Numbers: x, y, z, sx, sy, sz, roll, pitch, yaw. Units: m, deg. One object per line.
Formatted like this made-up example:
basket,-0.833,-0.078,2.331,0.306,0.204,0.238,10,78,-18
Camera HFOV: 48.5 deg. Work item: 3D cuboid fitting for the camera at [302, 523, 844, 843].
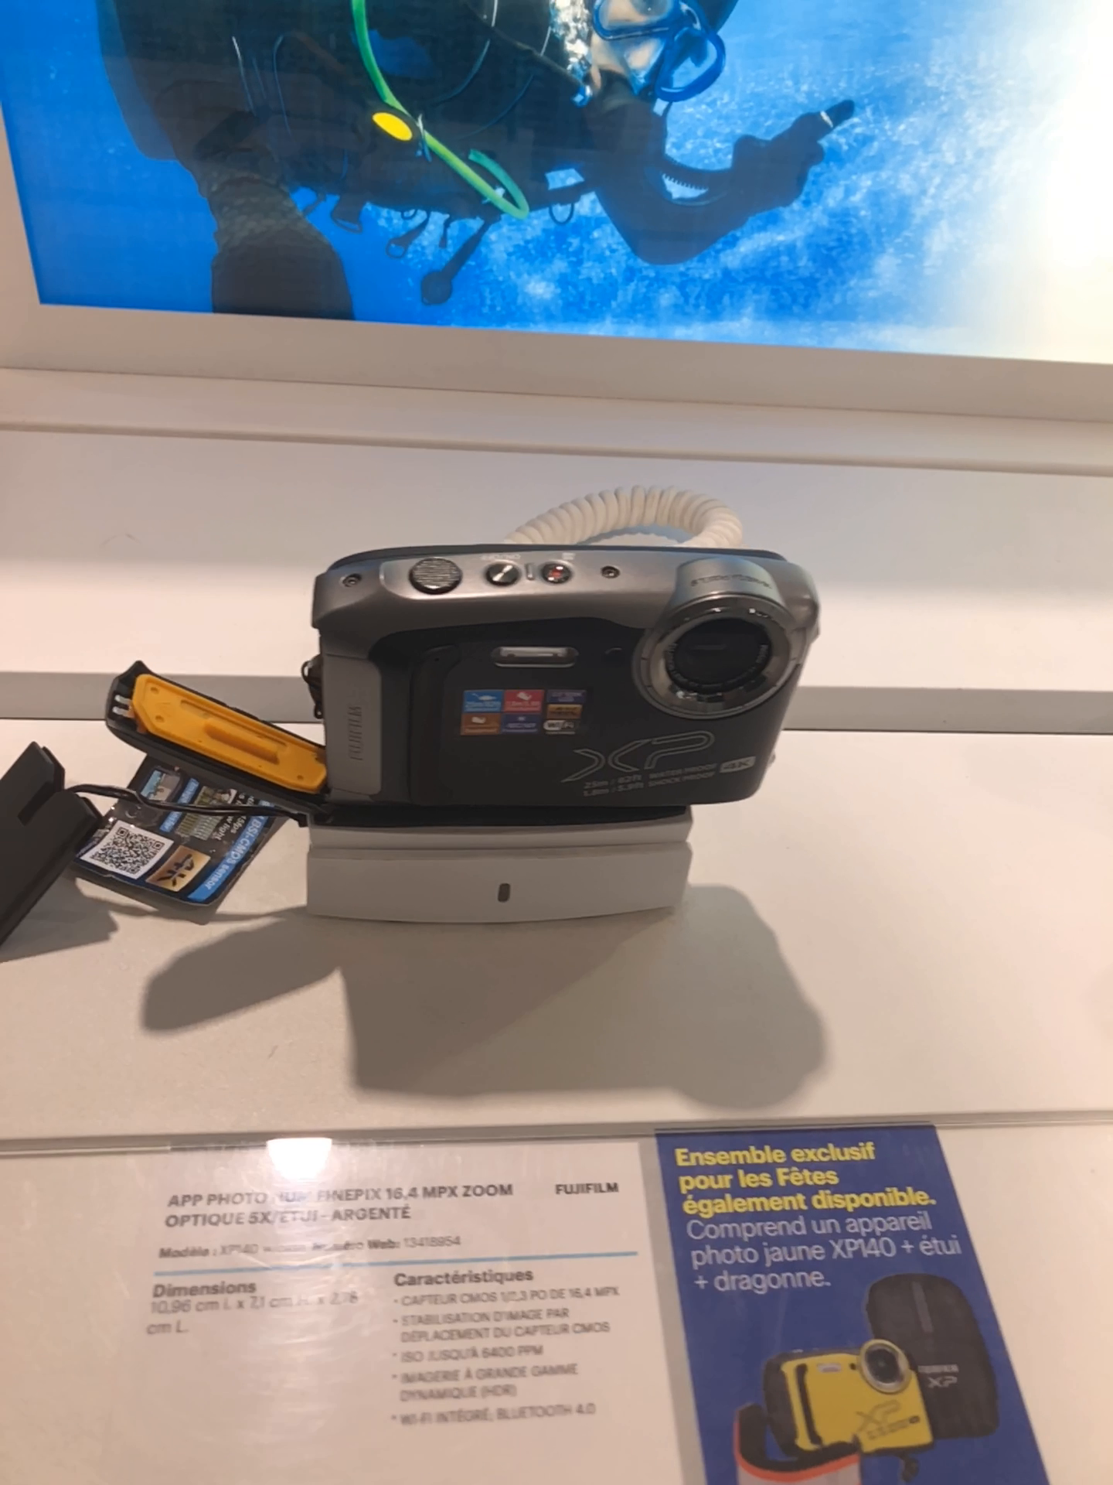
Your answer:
camera,0.000,-0.012,0.269,0.106,0.069,0.023,-1,43,-9
